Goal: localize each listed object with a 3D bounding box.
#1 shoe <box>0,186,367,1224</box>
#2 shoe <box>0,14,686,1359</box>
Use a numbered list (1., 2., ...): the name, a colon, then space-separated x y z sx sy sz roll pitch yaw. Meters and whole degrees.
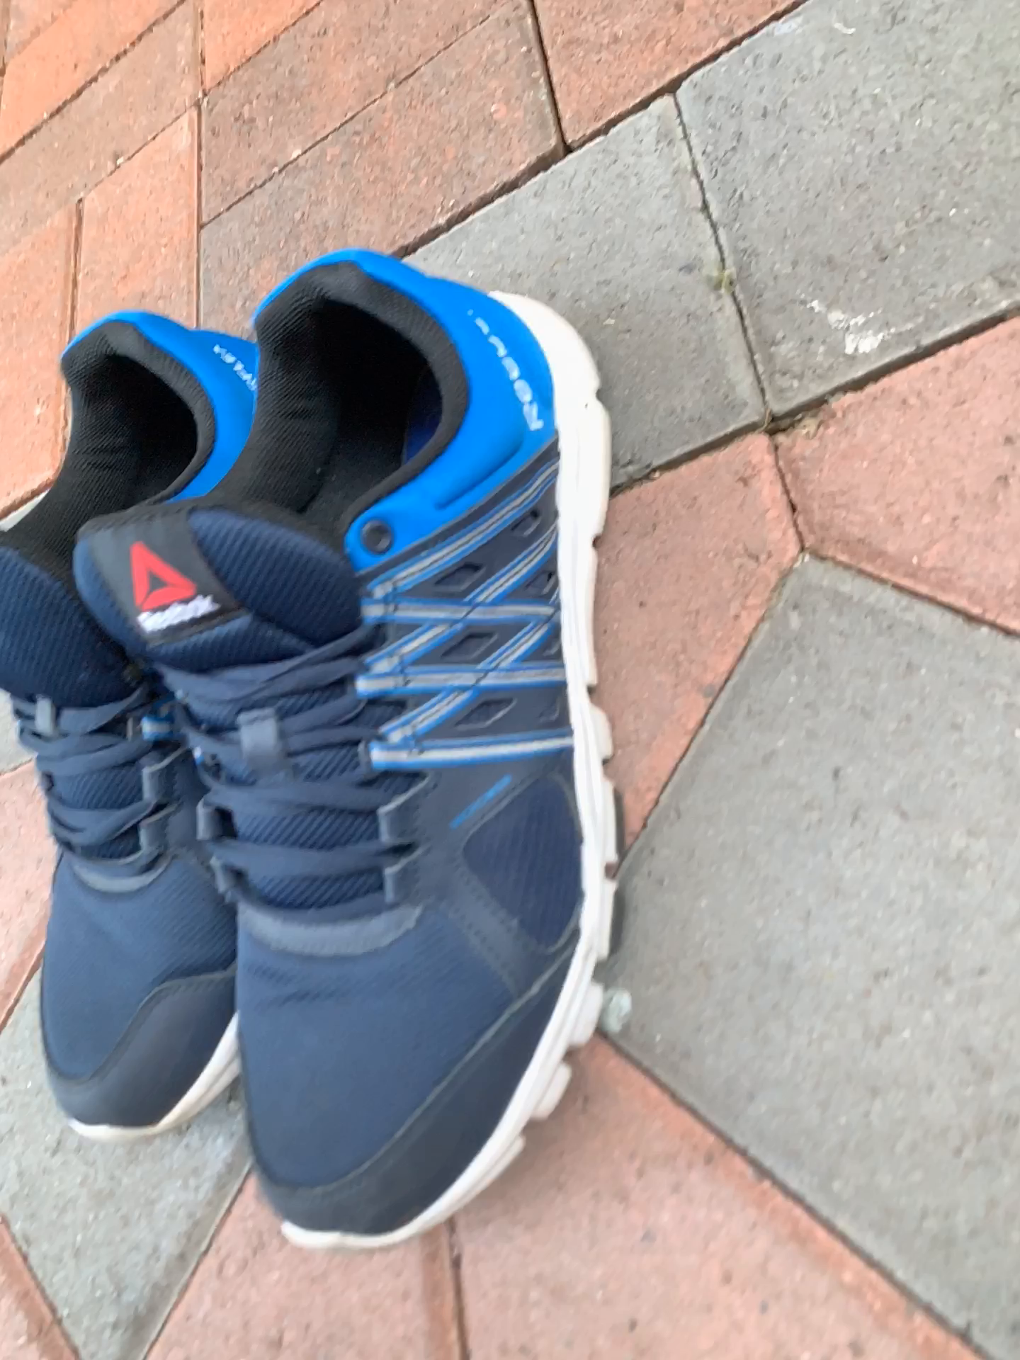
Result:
1. shoe: -0.145 0.008 0.333 0.110 0.119 0.261 -3 73 34
2. shoe: -0.038 0.003 0.279 0.110 0.119 0.281 -3 73 34
